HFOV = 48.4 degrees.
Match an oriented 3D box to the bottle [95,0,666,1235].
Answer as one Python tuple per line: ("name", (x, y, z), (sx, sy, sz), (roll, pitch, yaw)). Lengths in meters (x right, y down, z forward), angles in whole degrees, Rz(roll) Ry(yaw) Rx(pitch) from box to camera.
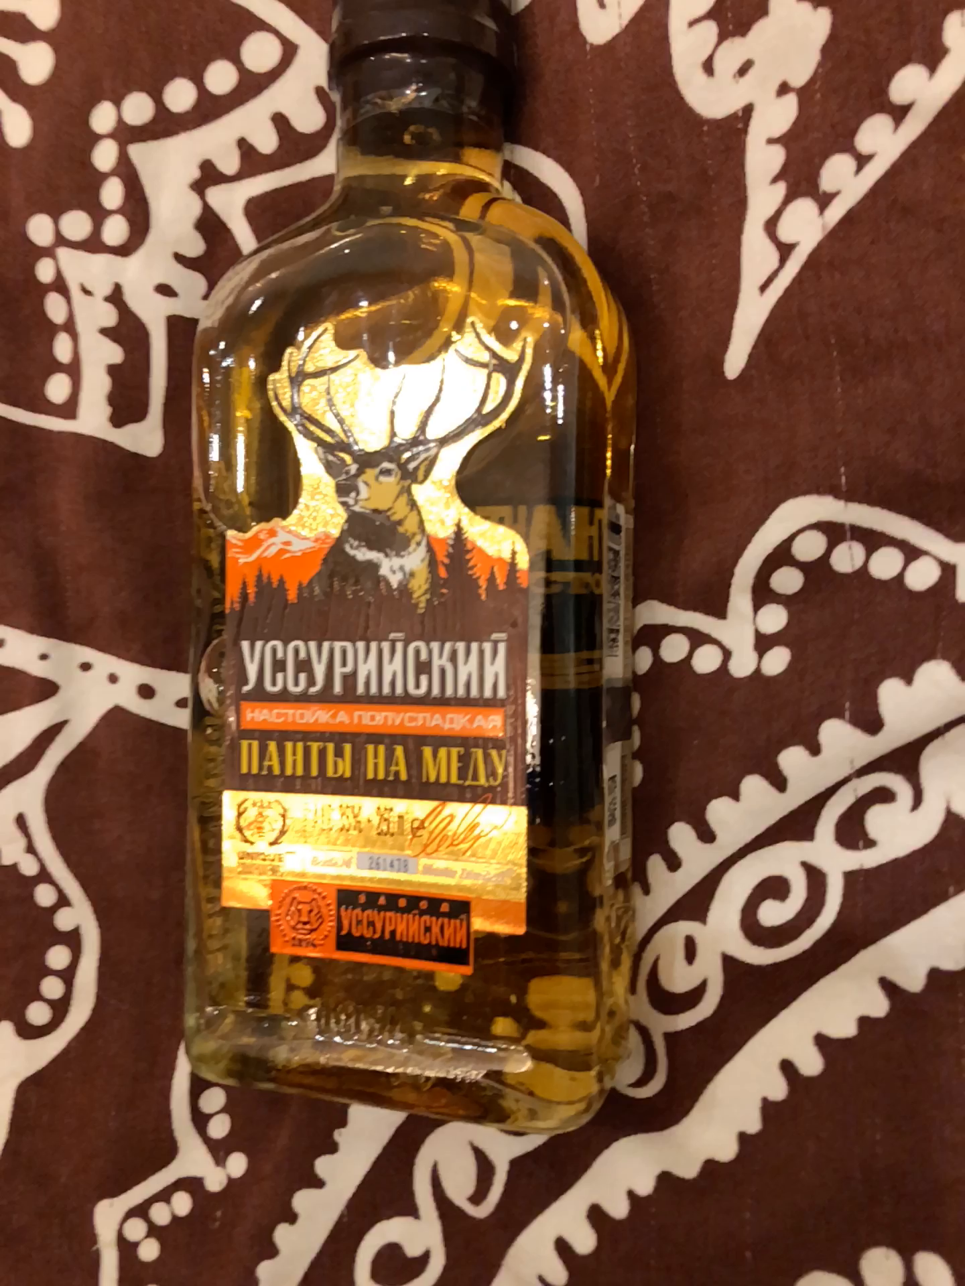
("bottle", (-0.012, -0.022, 0.172), (0.070, 0.050, 0.190), (0, 87, 21))
